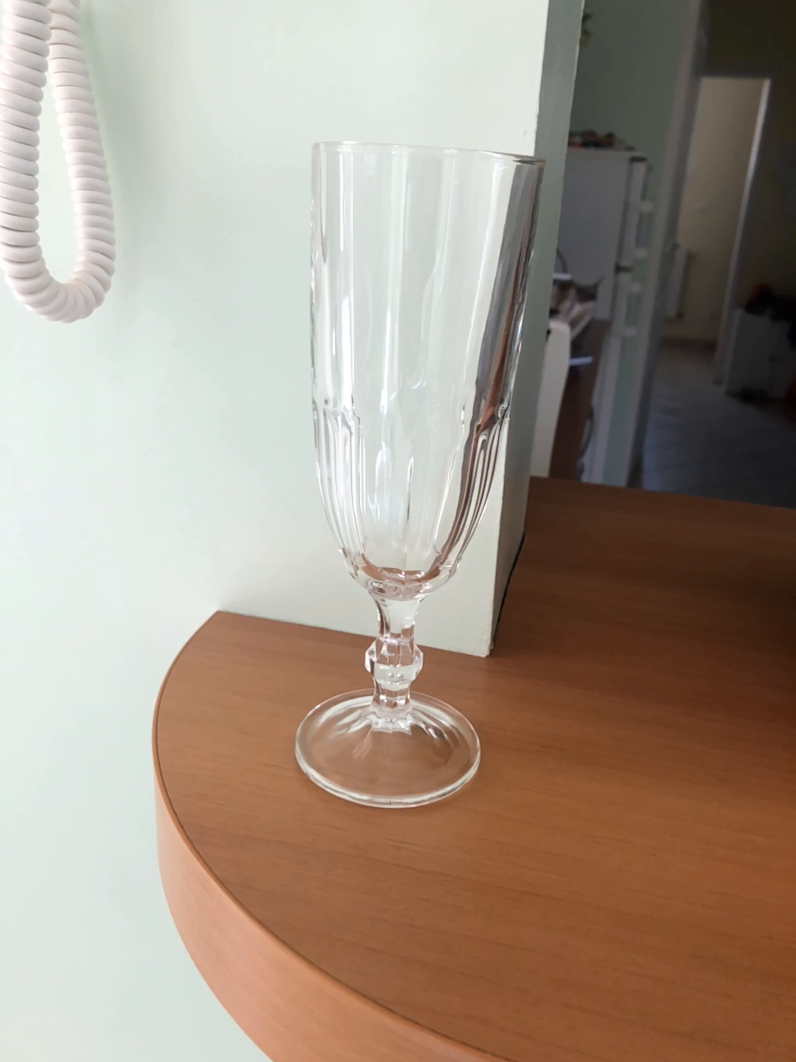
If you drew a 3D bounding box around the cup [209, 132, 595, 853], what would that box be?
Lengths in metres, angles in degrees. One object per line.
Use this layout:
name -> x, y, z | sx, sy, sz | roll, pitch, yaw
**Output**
cup -> -0.004, -0.013, 0.240 | 0.070, 0.169, 0.060 | 22, 28, 40
